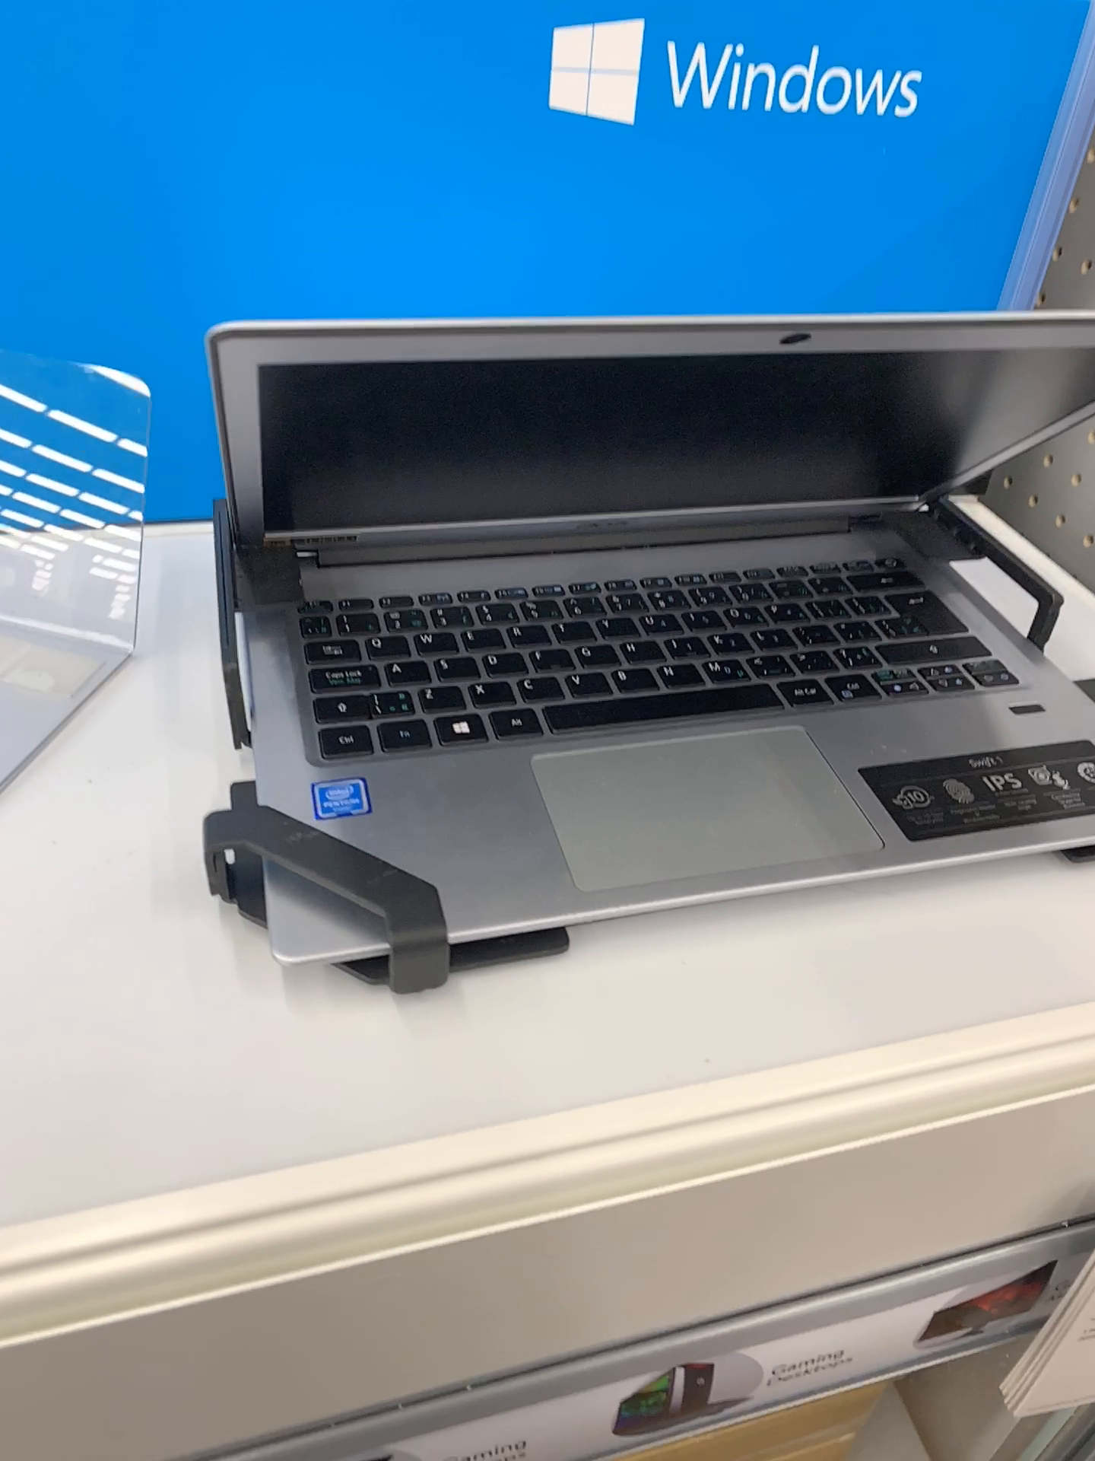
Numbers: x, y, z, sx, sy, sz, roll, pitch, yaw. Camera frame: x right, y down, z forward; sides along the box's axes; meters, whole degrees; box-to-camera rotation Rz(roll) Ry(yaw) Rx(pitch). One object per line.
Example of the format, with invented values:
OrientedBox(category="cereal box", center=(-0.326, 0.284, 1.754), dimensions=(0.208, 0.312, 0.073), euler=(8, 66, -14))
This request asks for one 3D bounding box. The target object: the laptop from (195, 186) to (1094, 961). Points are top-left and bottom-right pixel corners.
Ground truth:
OrientedBox(category="laptop", center=(0.054, -0.075, 0.372), dimensions=(0.305, 0.141, 0.214), euler=(-6, 39, -14))
